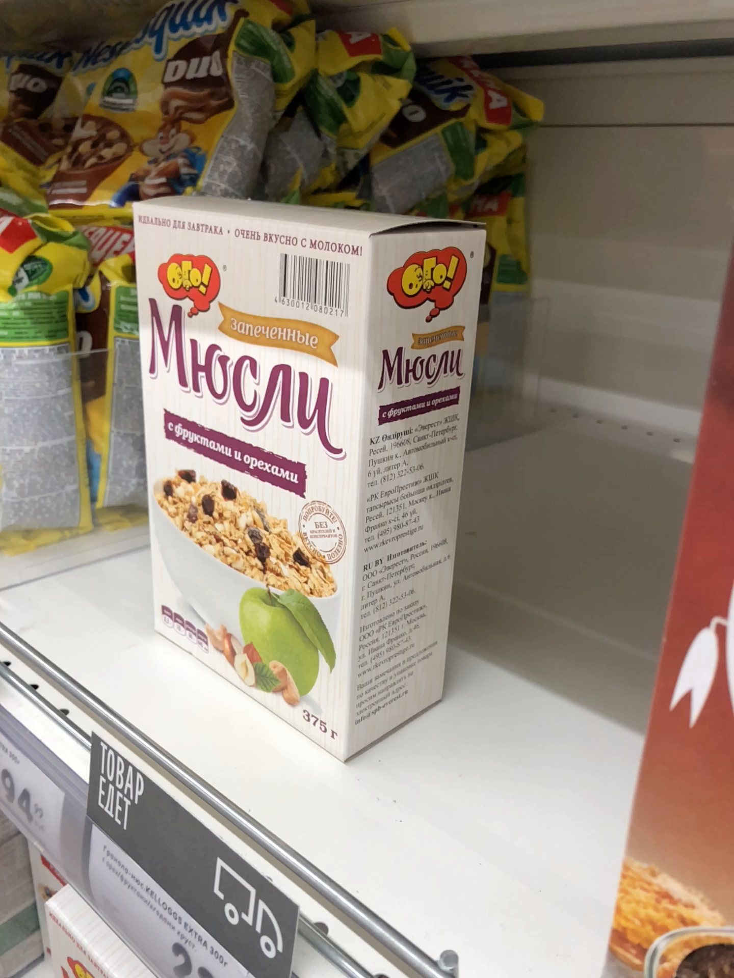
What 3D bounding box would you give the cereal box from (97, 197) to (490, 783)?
[{"bbox_3d":[-0.036,-0.011,0.338,0.140,0.199,0.070,21,27,40],"label":"cereal box"}]
